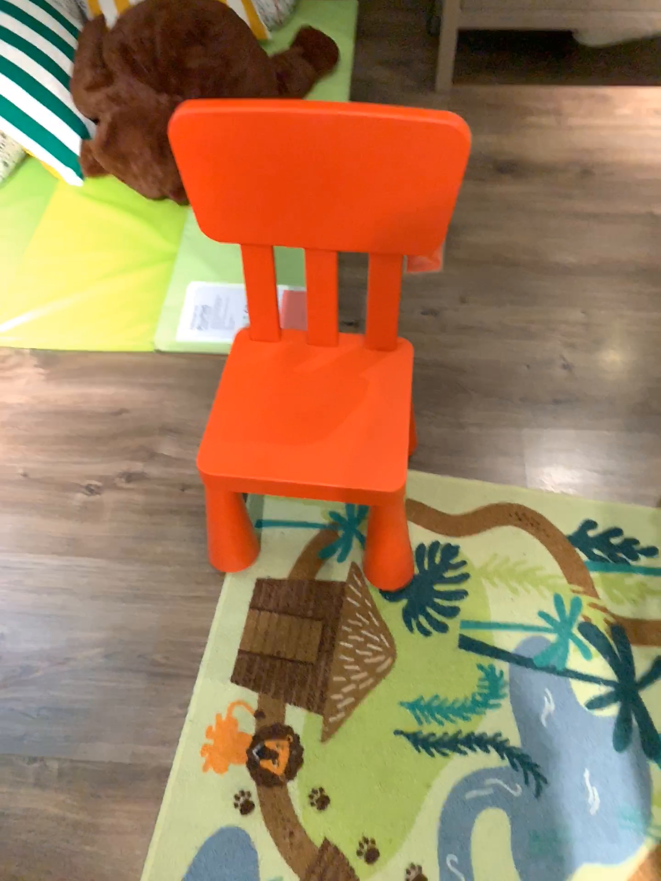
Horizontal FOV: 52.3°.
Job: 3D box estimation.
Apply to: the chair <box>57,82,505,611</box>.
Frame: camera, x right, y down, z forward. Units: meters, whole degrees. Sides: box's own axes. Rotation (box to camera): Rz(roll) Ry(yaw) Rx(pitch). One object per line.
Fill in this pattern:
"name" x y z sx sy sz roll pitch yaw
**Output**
"chair" -0.016 -0.105 1.020 0.430 0.598 0.491 5 57 5
